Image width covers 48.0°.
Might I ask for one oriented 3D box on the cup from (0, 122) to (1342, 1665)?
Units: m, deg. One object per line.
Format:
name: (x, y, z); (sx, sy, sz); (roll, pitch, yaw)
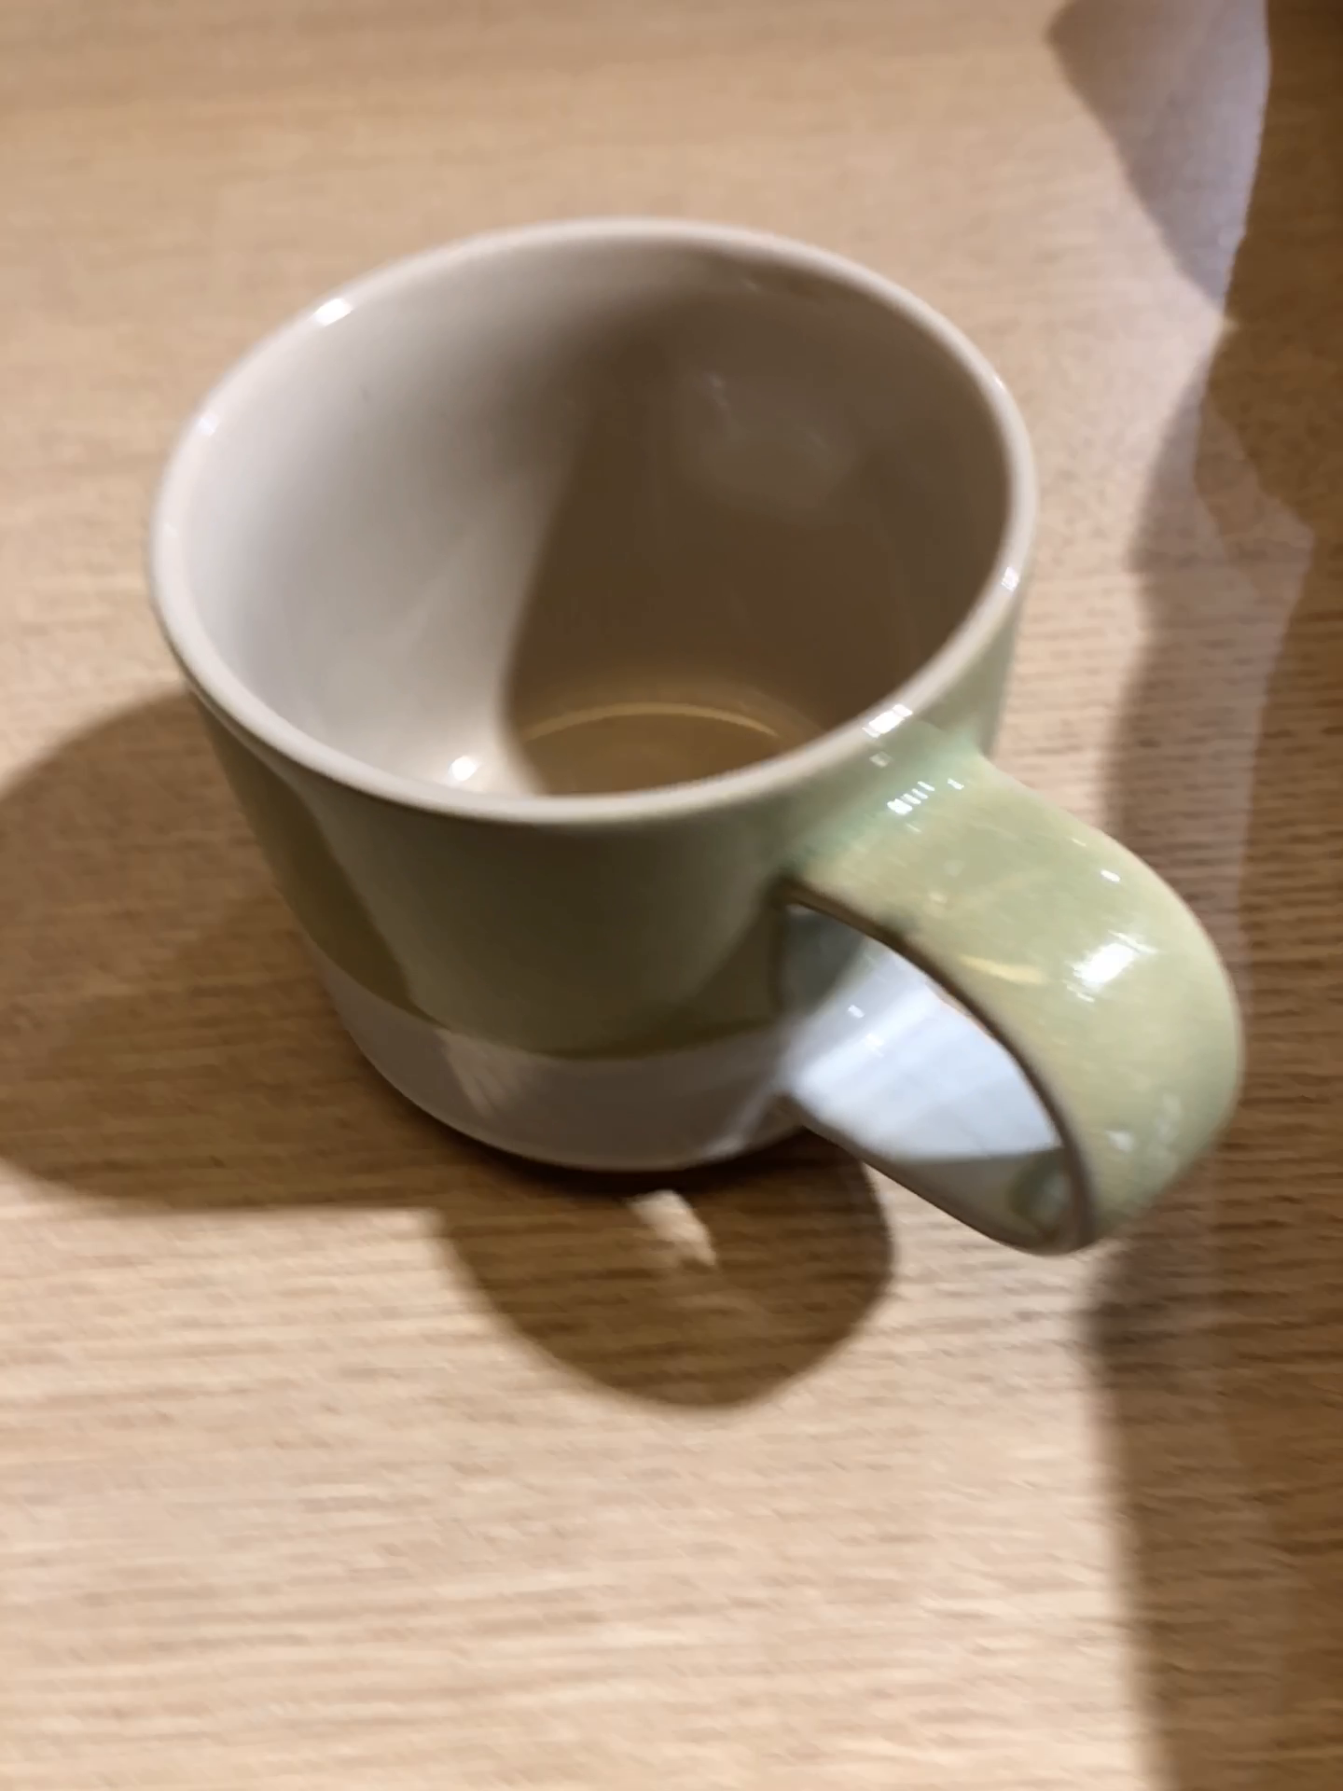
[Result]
cup: (0.002, -0.009, 0.180); (0.140, 0.080, 0.100); (38, 65, 26)
